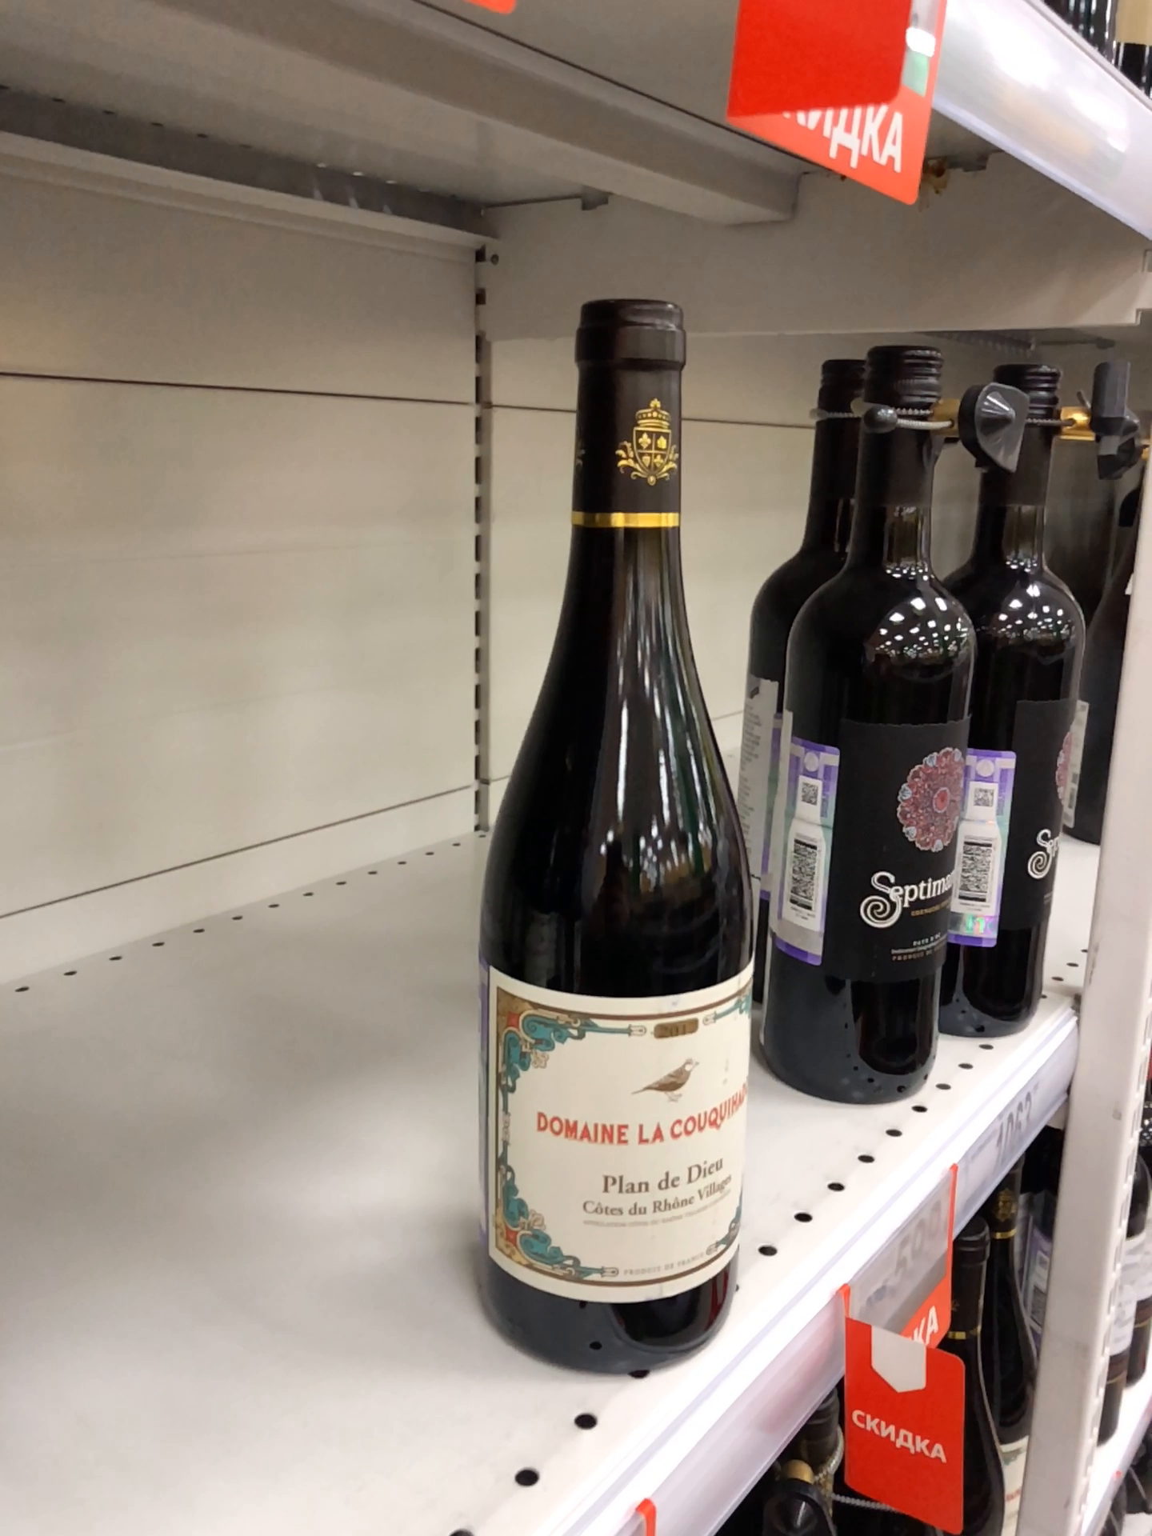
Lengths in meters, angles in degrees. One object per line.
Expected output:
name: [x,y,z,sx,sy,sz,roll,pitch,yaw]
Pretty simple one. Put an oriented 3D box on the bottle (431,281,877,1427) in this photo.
bottle: [0.015,0.024,0.375,0.090,0.302,0.080,-5,15,-27]
